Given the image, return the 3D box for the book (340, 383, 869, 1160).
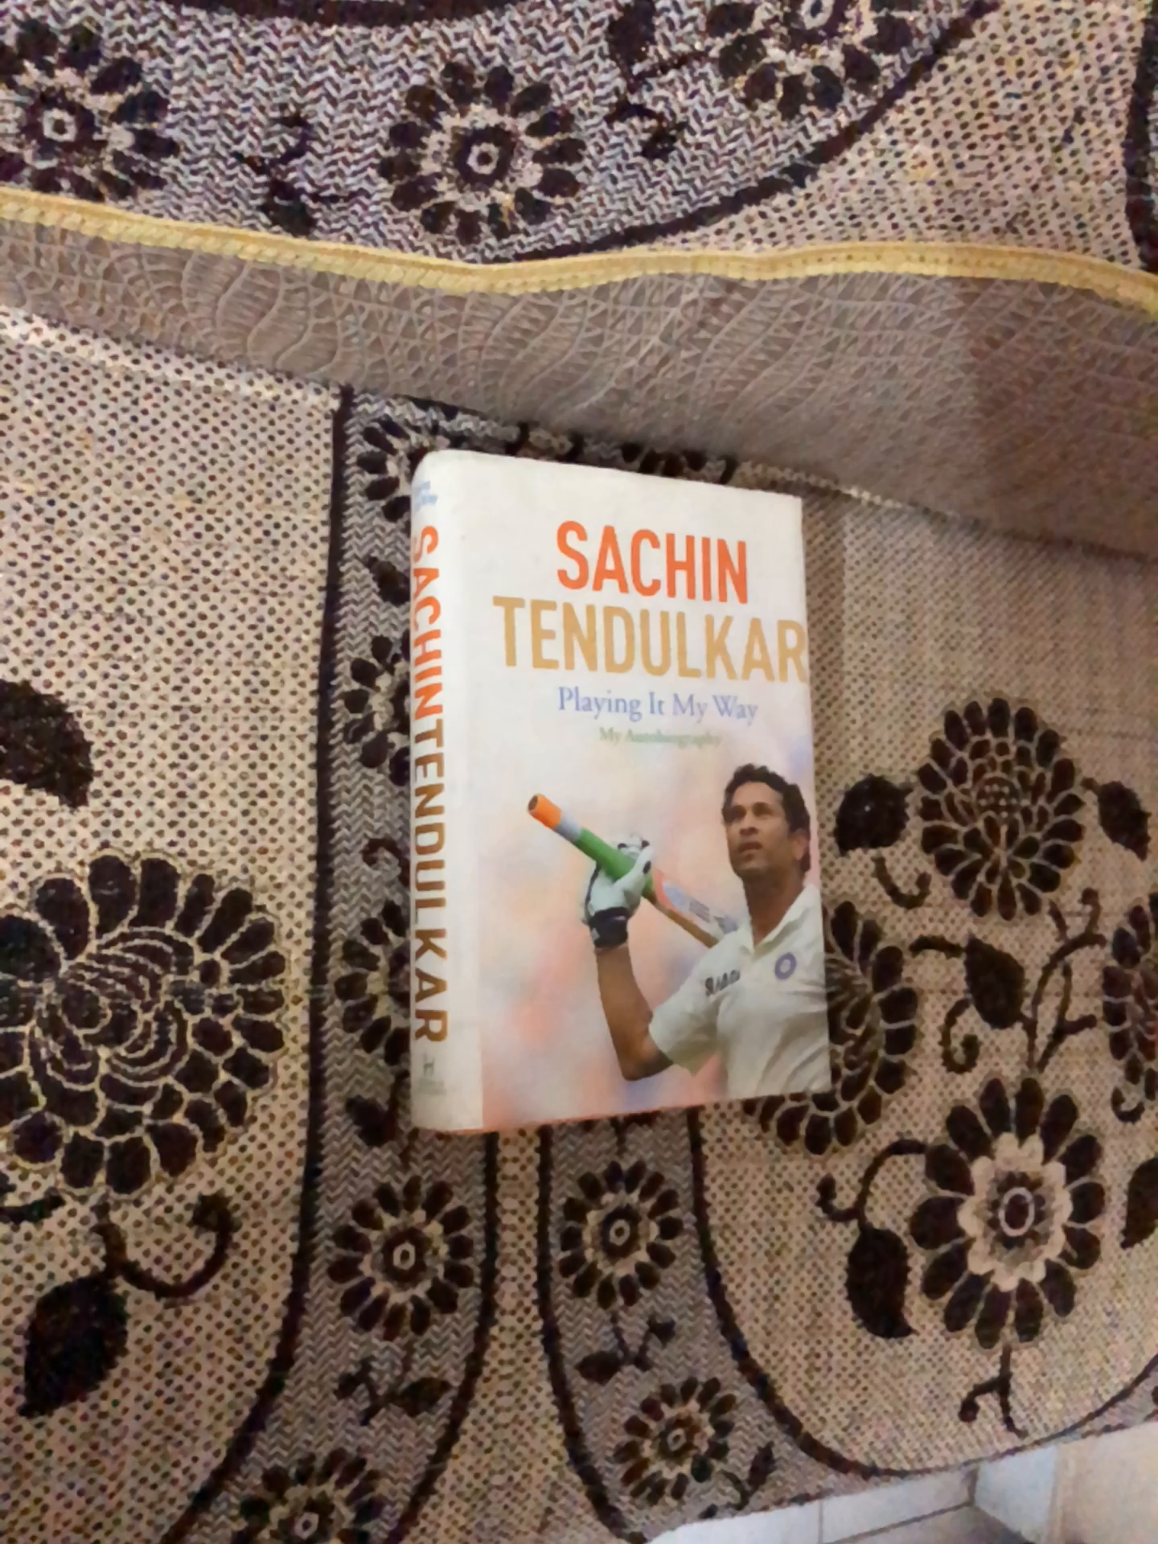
[{"bbox_3d":[0.009,0.002,0.497,0.181,0.070,0.260,2,81,-29],"label":"book"}]
